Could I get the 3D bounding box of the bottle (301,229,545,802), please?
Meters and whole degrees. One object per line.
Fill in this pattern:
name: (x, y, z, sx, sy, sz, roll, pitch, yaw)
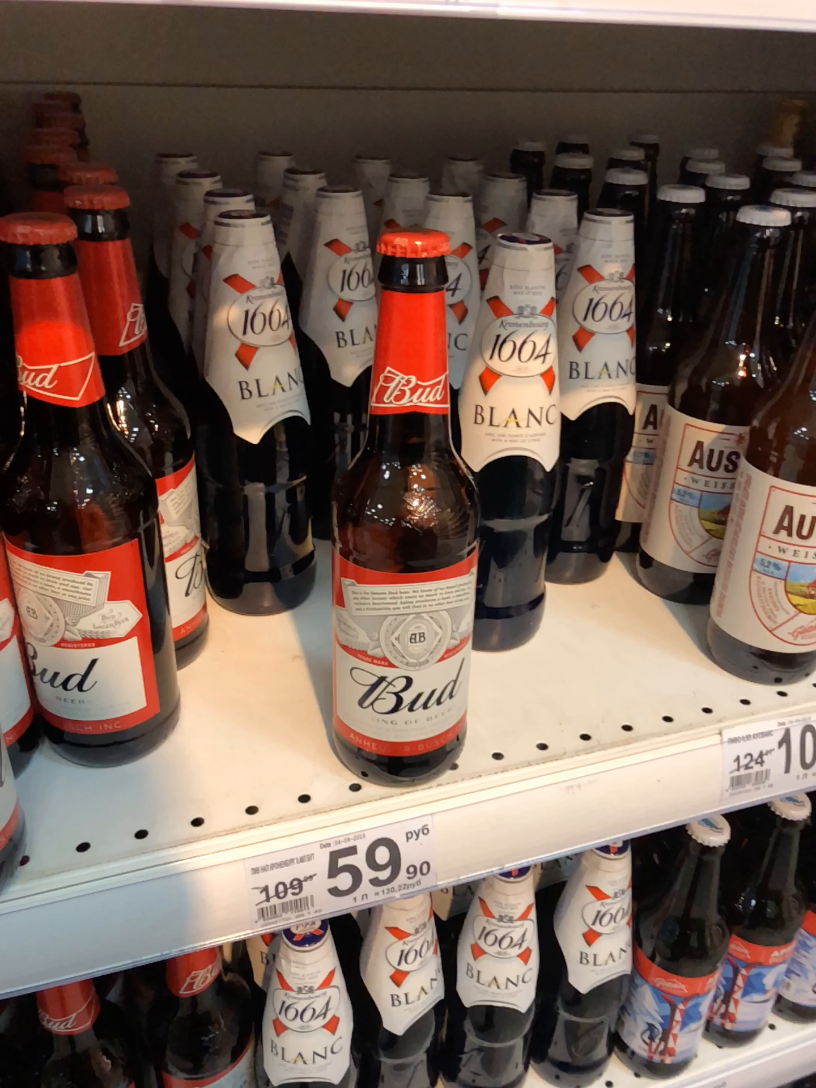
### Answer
bottle: (-0.002, -0.004, 0.402, 0.080, 0.248, 0.070, -4, 31, -10)
